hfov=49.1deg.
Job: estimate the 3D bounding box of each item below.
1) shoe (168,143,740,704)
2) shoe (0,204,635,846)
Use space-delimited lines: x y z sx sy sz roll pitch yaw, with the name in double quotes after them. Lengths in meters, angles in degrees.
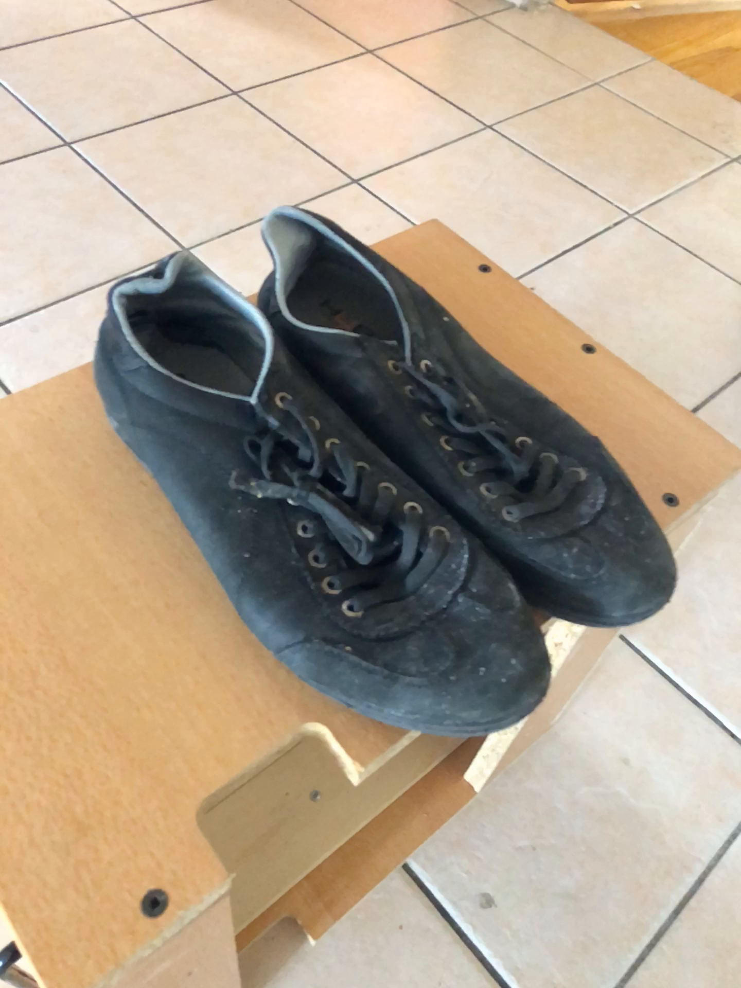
0.035 -0.055 0.424 0.110 0.089 0.311 -34 64 -29 "shoe"
-0.045 -0.005 0.379 0.110 0.089 0.301 -34 64 -29 "shoe"
